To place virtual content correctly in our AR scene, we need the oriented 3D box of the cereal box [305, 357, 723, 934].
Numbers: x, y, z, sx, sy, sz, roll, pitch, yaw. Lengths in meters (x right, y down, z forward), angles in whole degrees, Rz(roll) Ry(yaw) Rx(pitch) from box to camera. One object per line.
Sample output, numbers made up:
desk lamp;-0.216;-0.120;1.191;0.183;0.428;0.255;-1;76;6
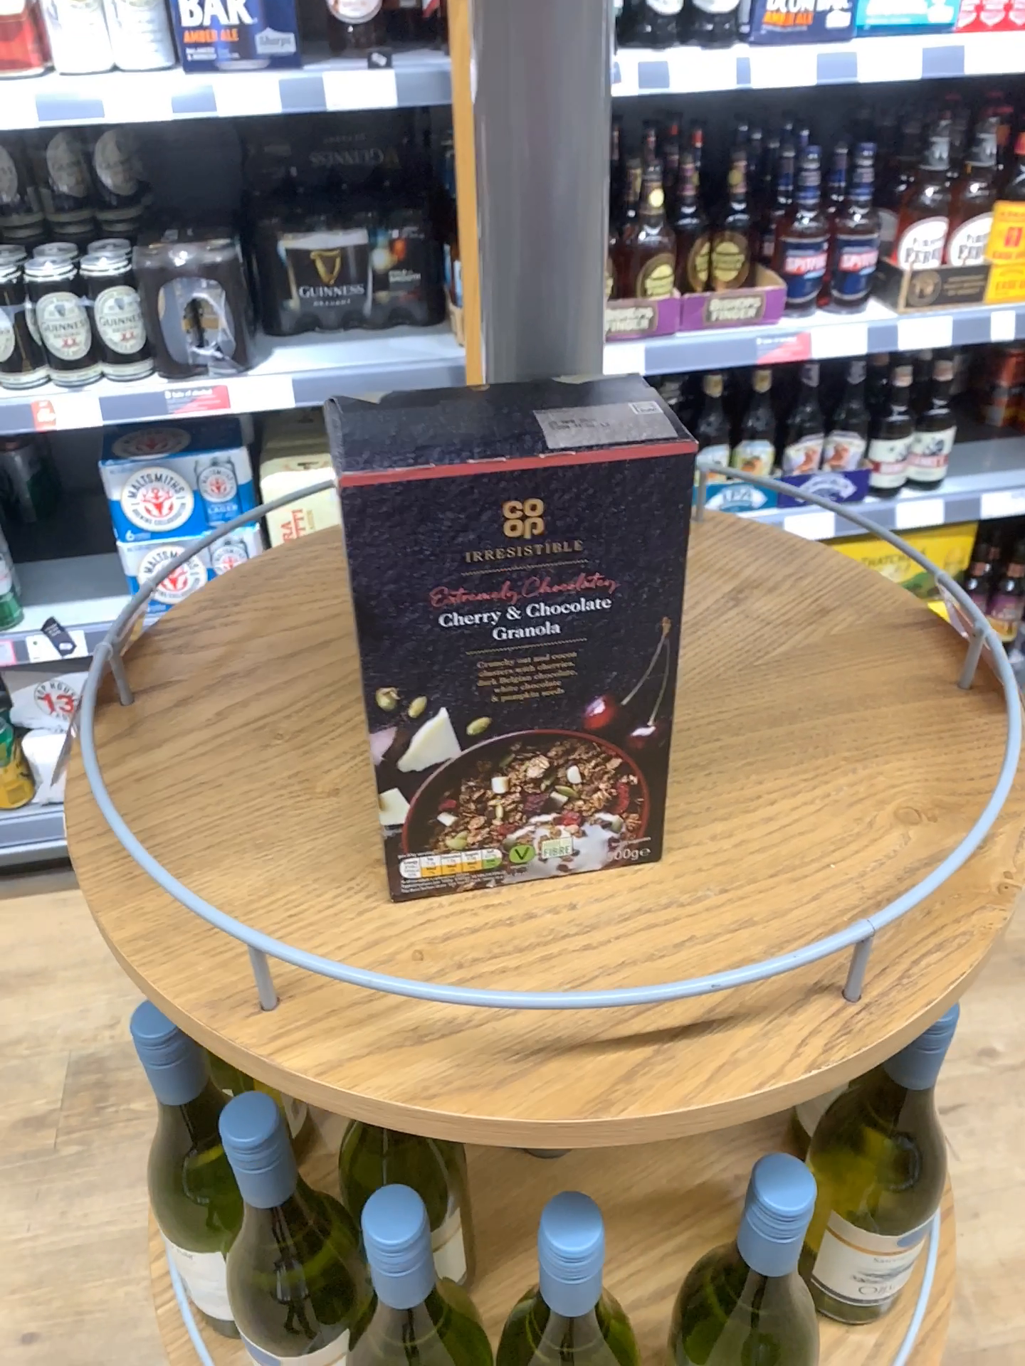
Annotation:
cereal box;-0.002;-0.011;0.452;0.140;0.218;0.091;-7;37;-8
